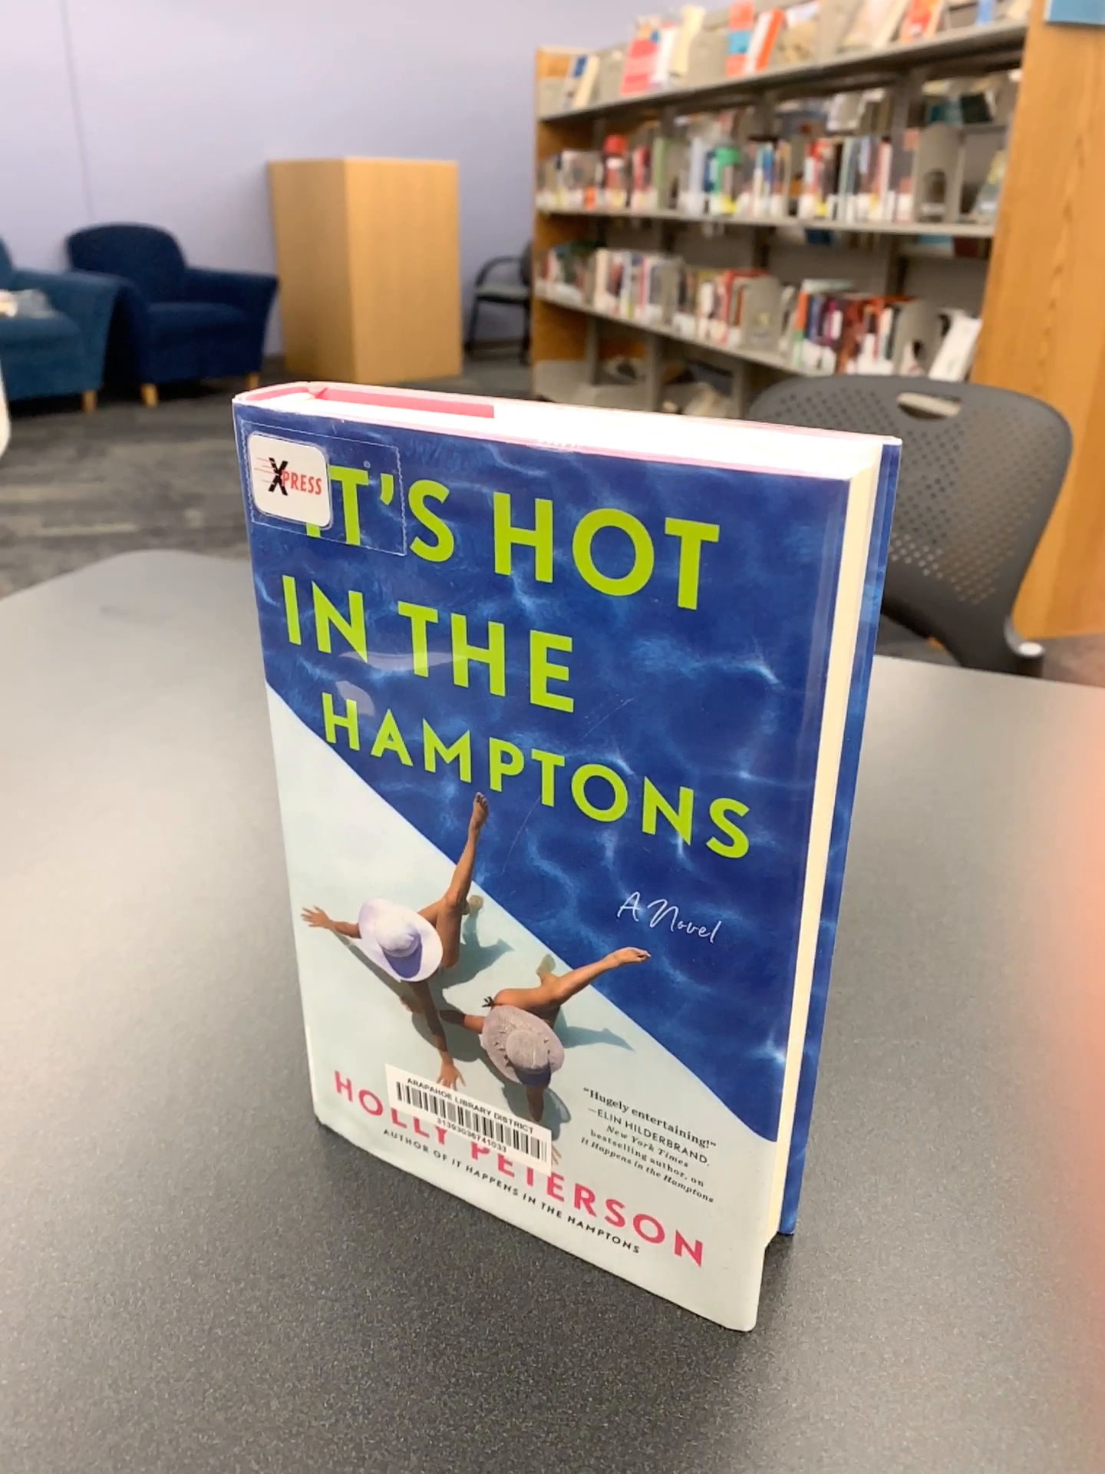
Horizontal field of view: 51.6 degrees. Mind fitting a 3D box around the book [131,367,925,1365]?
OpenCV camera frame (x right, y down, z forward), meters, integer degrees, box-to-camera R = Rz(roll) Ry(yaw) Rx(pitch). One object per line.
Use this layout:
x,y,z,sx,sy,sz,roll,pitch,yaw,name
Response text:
-0.012,0.029,0.294,0.170,0.219,0.050,14,29,27,book
